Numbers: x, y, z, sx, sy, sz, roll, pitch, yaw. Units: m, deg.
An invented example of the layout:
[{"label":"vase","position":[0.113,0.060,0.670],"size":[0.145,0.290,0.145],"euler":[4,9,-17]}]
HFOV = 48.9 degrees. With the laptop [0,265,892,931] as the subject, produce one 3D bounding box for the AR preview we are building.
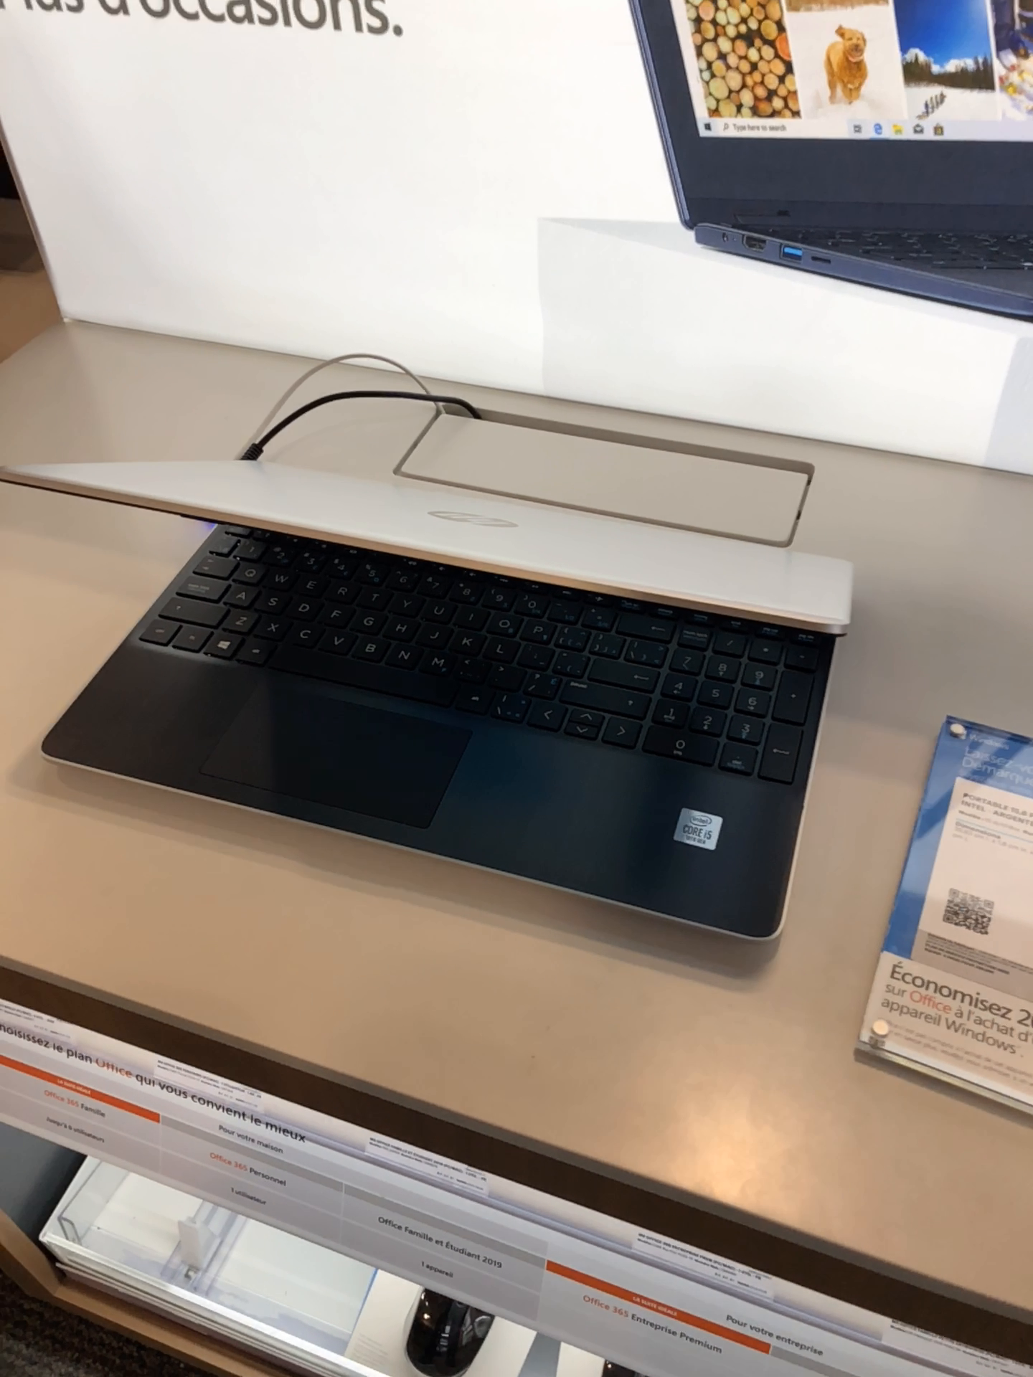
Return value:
[{"label":"laptop","position":[-0.027,-0.064,0.529],"size":[0.346,0.131,0.230],"euler":[12,47,15]}]
